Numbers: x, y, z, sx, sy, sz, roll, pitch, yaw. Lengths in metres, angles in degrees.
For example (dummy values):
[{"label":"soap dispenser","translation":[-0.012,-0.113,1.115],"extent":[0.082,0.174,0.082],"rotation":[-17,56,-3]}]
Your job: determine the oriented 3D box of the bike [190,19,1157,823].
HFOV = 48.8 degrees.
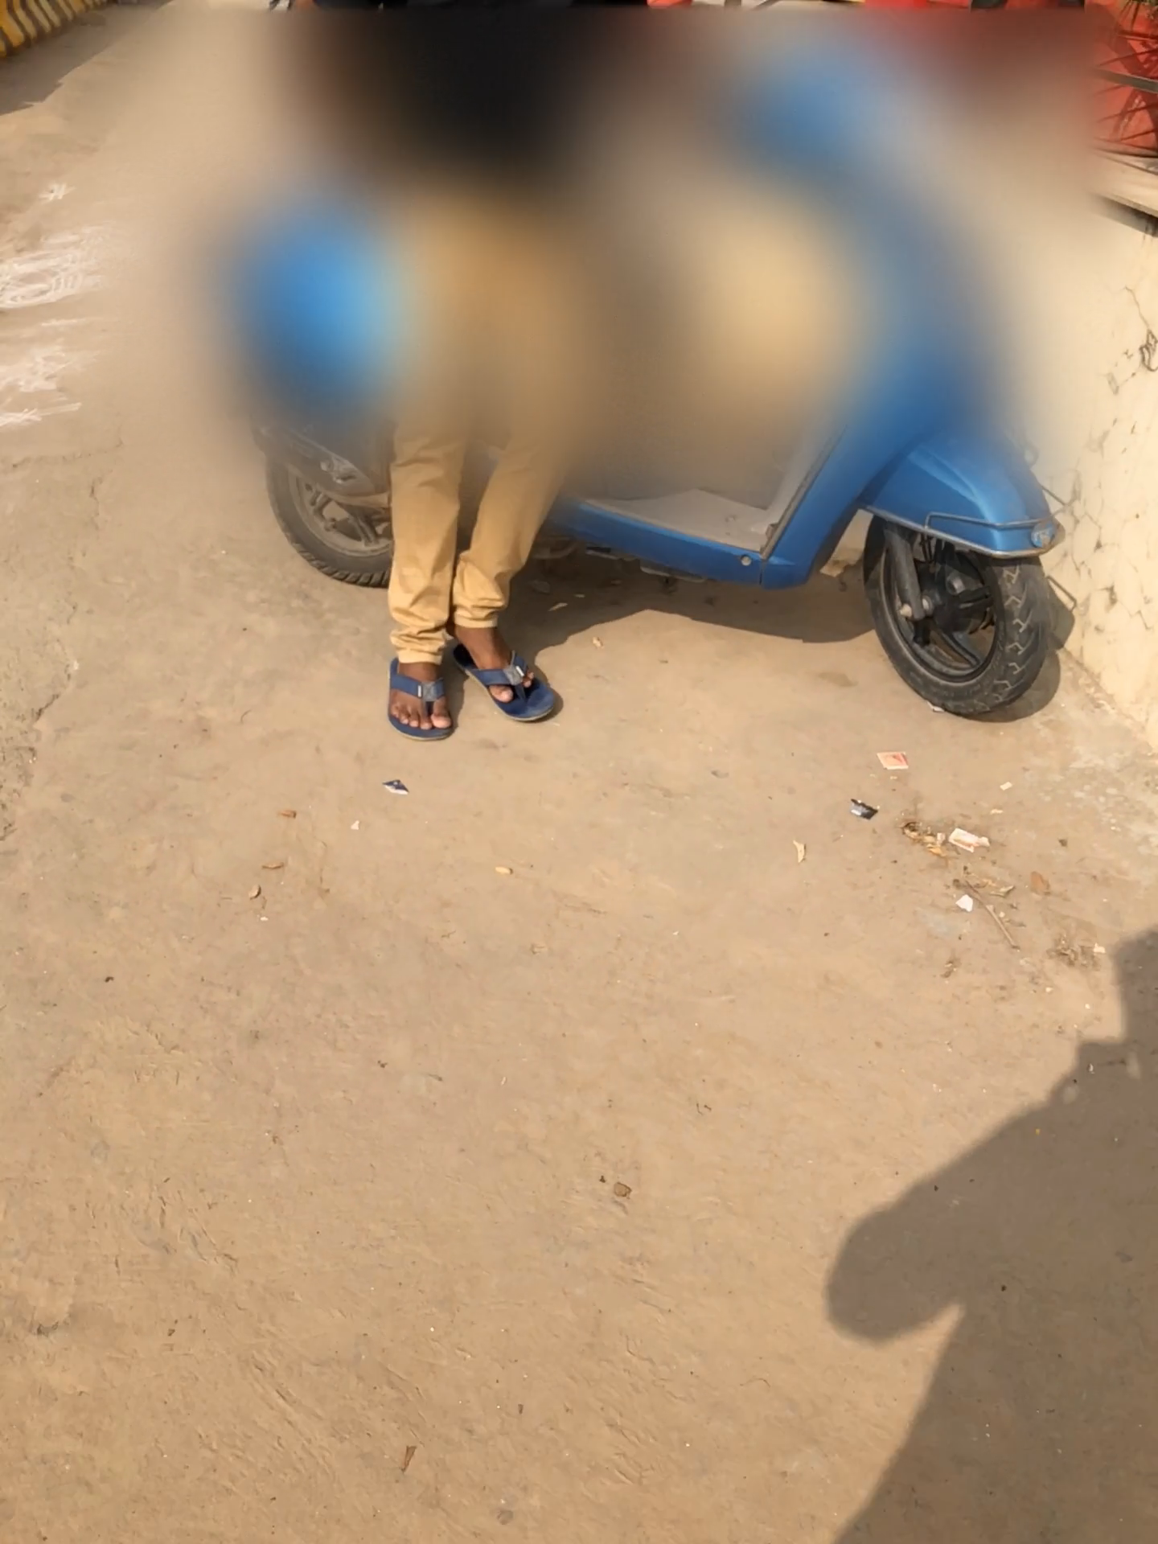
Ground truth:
[{"label":"bike","translation":[0.104,-0.715,2.282],"extent":[1.567,1.021,0.598],"rotation":[18,35,21]}]
